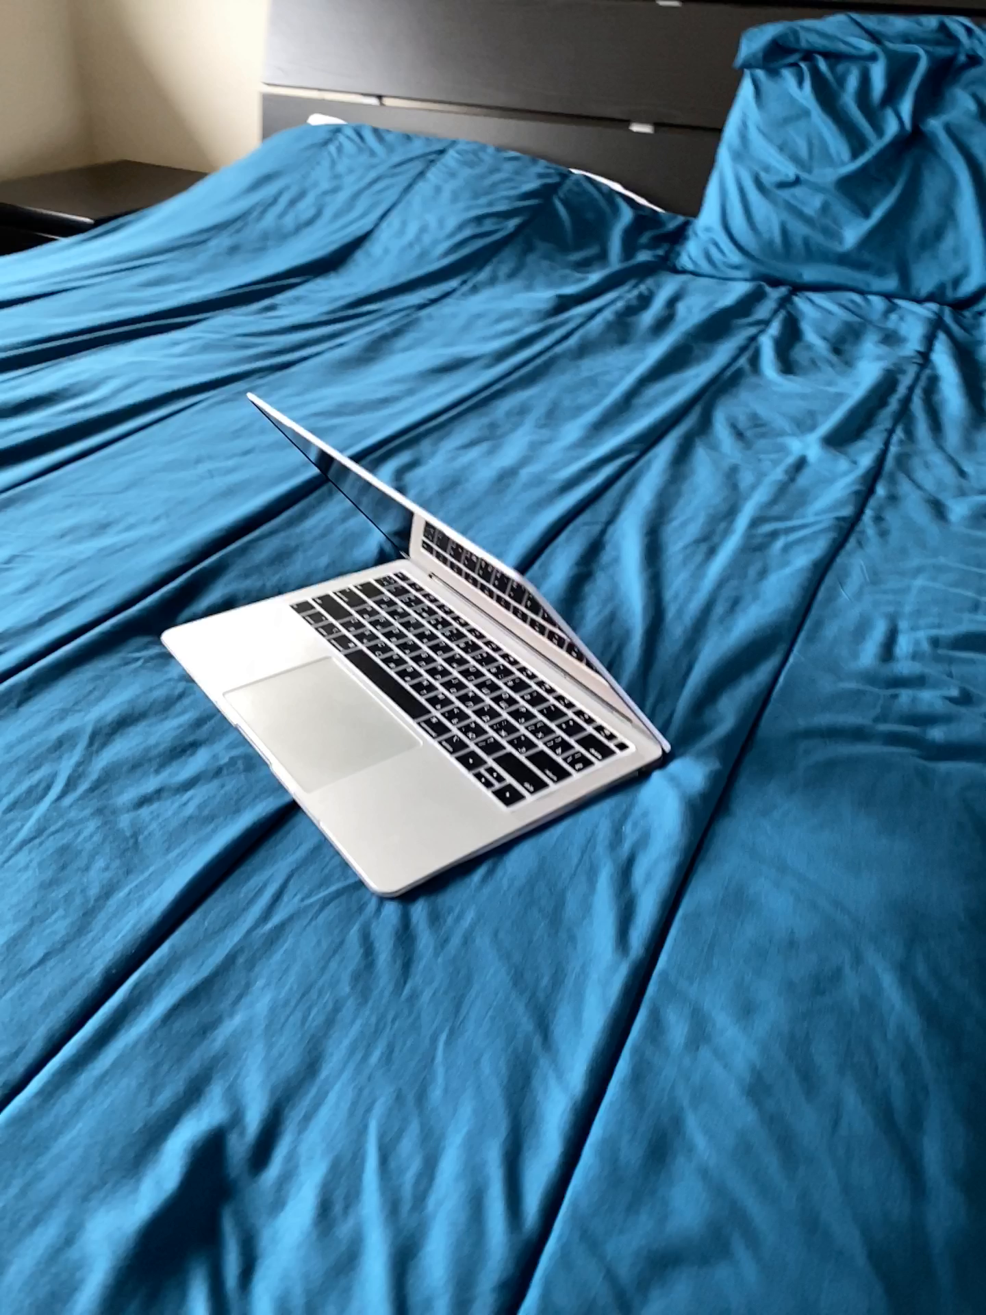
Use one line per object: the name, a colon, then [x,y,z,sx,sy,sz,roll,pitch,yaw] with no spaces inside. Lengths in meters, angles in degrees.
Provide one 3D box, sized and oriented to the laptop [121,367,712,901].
laptop: [-0.059,-0.044,0.624,0.215,0.161,0.296,-21,40,-31]
